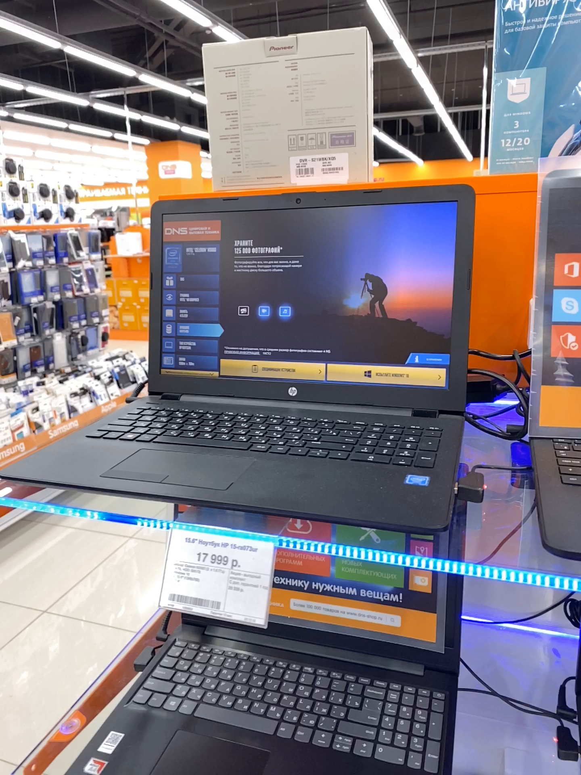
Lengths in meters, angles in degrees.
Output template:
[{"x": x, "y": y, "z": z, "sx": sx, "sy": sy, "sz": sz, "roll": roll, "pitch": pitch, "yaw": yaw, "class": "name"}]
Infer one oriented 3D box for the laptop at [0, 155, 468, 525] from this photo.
[{"x": -0.034, "y": -0.072, "z": 0.588, "sx": 0.388, "sy": 0.236, "sz": 0.323, "roll": 3, "pitch": 15, "yaw": 19, "class": "laptop"}]
